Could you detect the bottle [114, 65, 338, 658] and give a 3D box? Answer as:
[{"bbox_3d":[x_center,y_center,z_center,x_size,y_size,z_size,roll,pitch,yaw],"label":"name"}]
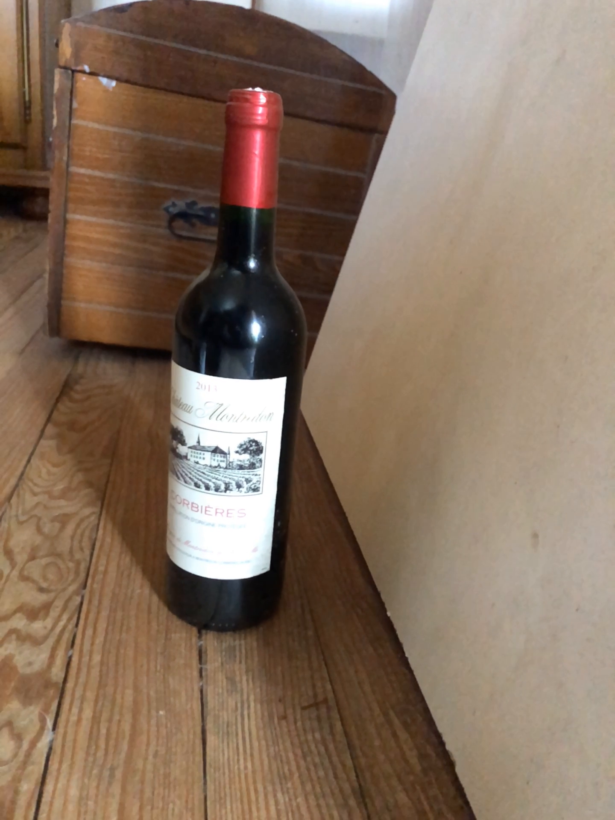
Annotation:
[{"bbox_3d":[-0.047,-0.018,0.366,0.080,0.289,0.070,12,21,18],"label":"bottle"}]
